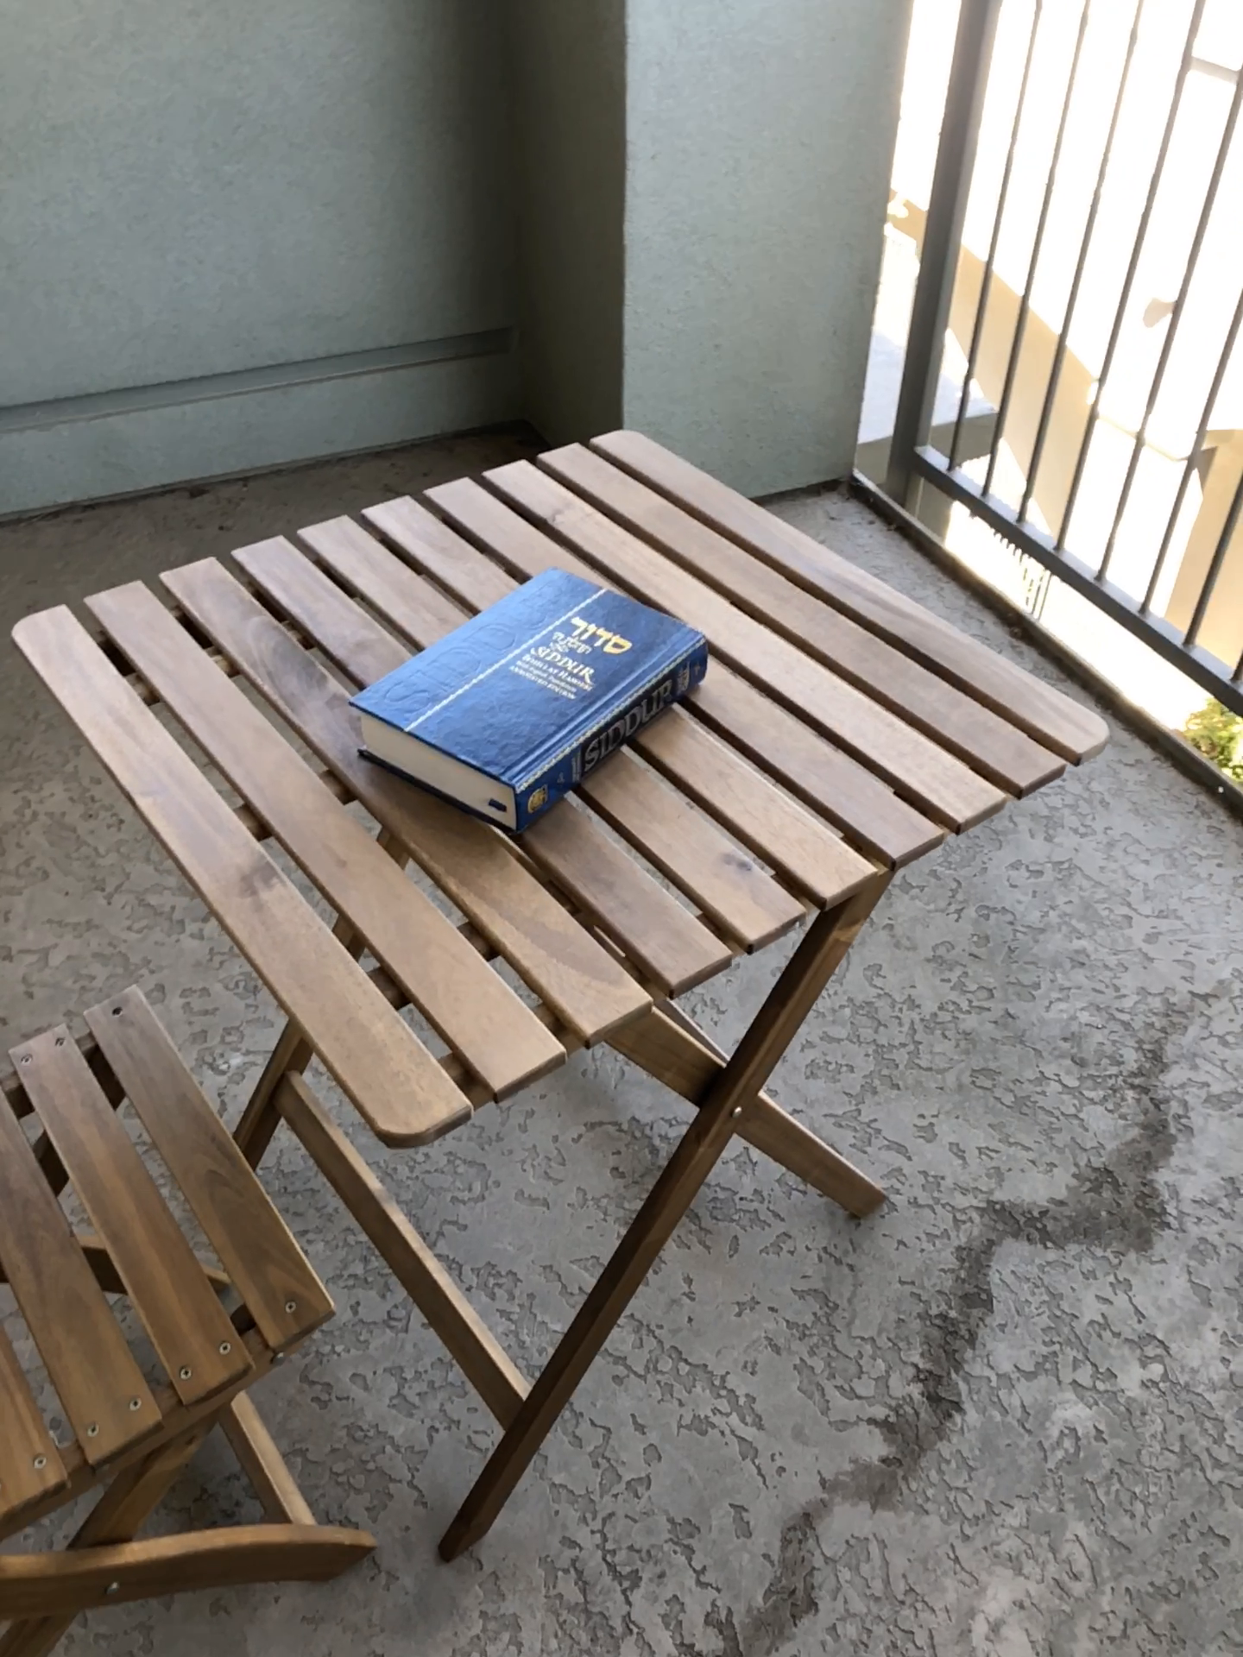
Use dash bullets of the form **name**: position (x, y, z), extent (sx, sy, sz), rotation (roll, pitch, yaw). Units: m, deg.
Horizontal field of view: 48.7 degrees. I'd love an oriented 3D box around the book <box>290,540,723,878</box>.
- **book**: position (-0.076, -0.096, 0.981), extent (0.200, 0.070, 0.231), rotation (27, 48, 26)
